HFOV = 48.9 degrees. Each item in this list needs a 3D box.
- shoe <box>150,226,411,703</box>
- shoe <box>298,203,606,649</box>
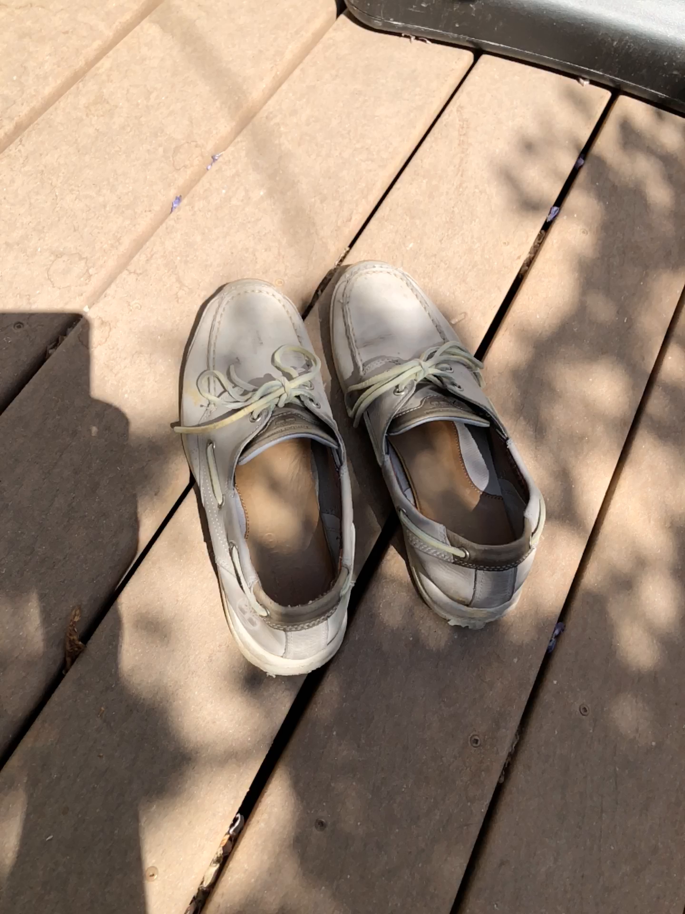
[{"bbox_3d":[-0.051,-0.006,0.491,0.109,0.076,0.294,-7,67,-14],"label":"shoe"},{"bbox_3d":[0.061,-0.031,0.524,0.109,0.076,0.294,-10,68,-15],"label":"shoe"}]
